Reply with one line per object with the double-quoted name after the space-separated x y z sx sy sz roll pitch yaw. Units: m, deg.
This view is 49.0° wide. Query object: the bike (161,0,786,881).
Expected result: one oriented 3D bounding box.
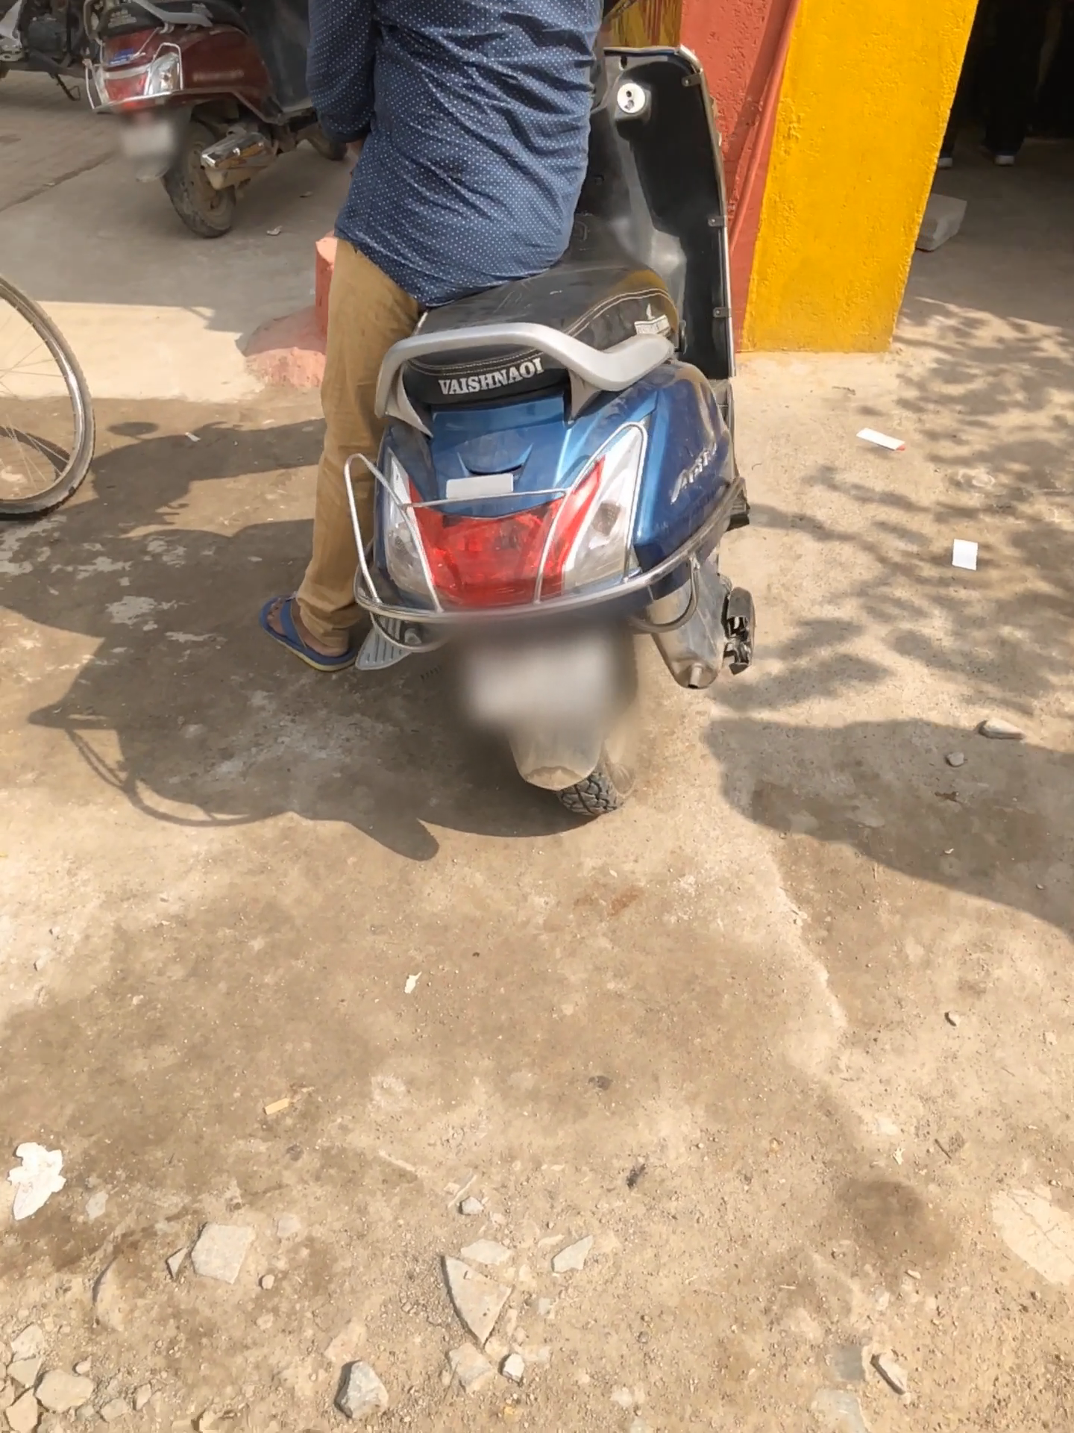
-0.071 -0.741 2.184 0.624 1.187 1.643 4 38 0 "bike"
